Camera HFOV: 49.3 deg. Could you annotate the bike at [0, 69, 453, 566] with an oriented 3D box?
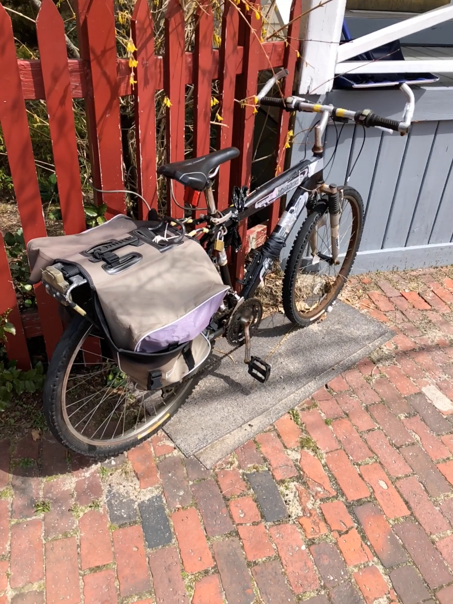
[{"bbox_3d":[0.072,-0.173,1.851,0.672,0.999,1.734,27,42,32],"label":"bike"}]
